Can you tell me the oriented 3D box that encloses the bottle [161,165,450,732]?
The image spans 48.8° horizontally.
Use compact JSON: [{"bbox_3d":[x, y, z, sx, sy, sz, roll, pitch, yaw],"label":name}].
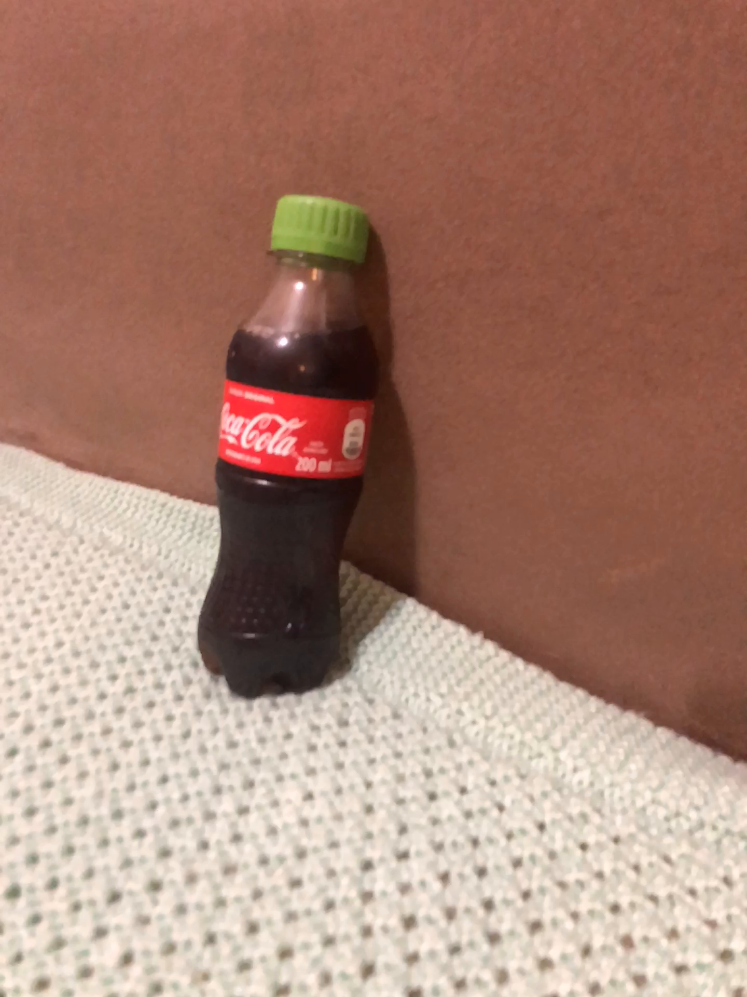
[{"bbox_3d":[-0.025,-0.018,0.284,0.060,0.169,0.060,7,13,-2],"label":"bottle"}]
